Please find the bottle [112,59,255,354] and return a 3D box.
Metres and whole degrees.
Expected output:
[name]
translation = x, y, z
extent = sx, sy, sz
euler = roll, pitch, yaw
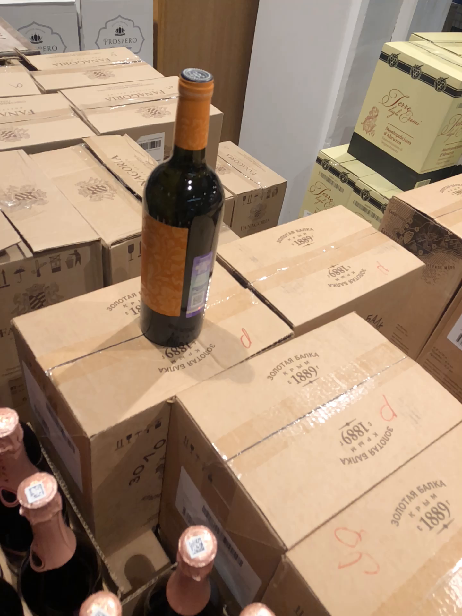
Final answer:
[bottle]
translation = -0.059, -0.091, 0.516
extent = 0.090, 0.278, 0.090
euler = 5, 42, -5
